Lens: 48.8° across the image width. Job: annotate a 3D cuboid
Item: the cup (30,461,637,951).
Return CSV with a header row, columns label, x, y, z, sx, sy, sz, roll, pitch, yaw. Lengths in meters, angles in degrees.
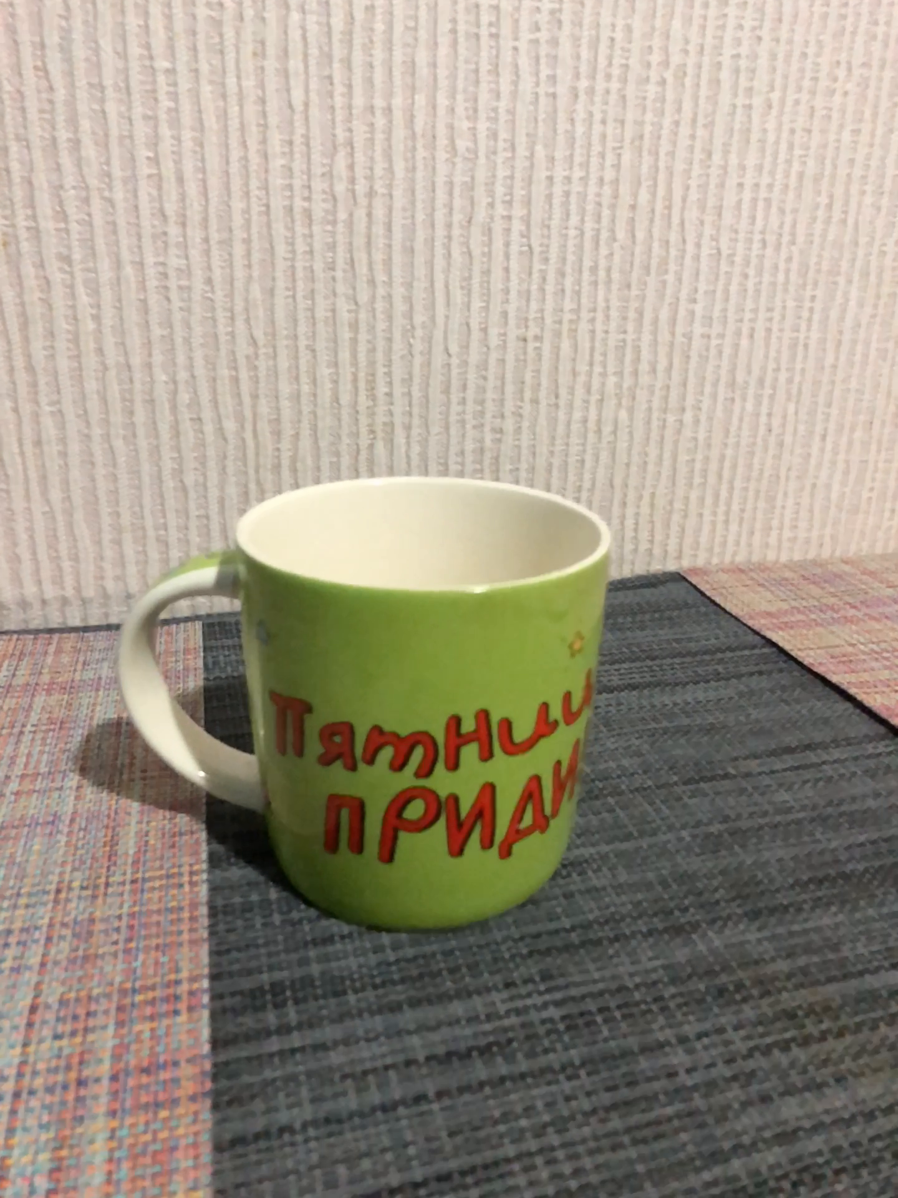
label,x,y,z,sx,sy,sz,roll,pitch,yaw
cup,-0.022,0.019,0.243,0.115,0.084,0.090,2,21,1
